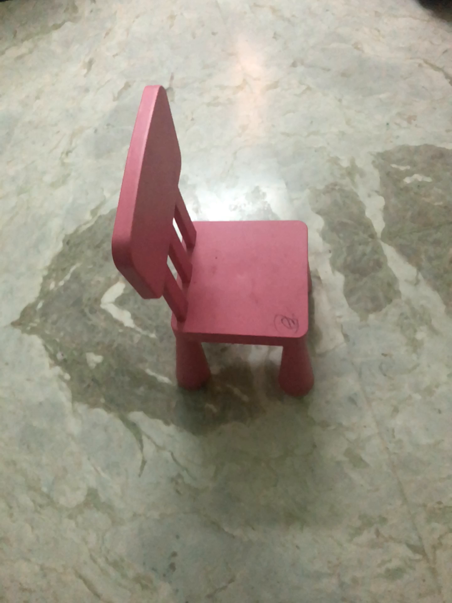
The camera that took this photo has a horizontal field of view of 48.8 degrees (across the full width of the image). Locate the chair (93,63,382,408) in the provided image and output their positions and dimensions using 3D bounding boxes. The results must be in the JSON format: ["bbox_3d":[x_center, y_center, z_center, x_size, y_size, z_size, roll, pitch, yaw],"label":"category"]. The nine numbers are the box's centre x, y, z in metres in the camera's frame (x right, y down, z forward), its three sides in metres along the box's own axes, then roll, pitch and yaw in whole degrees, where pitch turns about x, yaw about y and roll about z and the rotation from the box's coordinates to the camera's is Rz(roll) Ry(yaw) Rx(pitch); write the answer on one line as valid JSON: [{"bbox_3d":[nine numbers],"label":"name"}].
[{"bbox_3d":[0.040,-0.076,1.026,0.380,0.627,0.402,1,61,4],"label":"chair"}]
